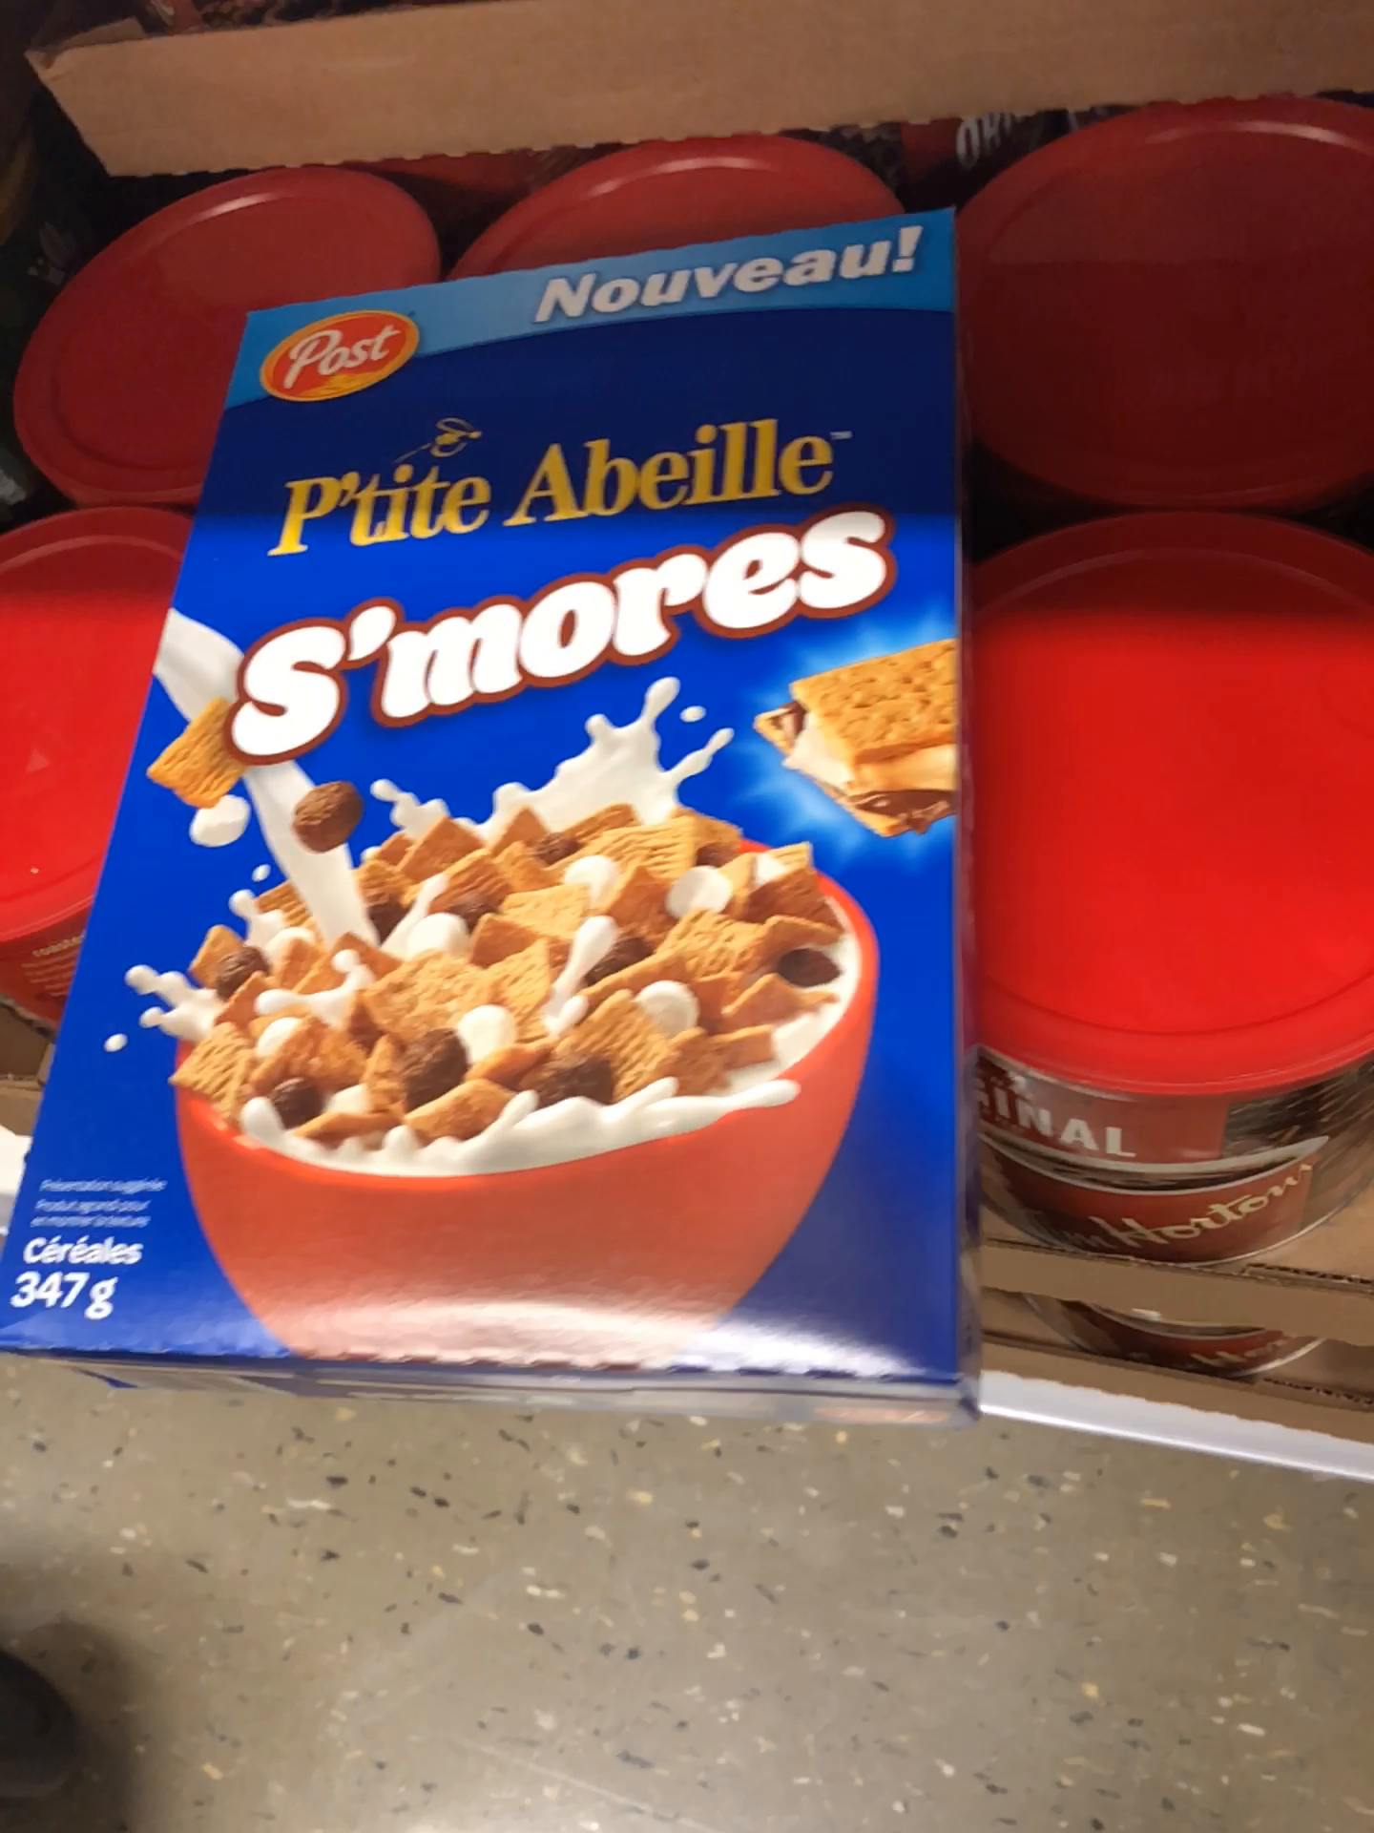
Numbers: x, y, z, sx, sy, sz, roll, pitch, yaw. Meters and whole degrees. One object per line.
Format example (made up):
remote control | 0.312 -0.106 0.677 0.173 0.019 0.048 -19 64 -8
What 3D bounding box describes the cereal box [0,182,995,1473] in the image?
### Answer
cereal box | -0.032 -0.031 0.362 0.200 0.060 0.290 -2 64 15
